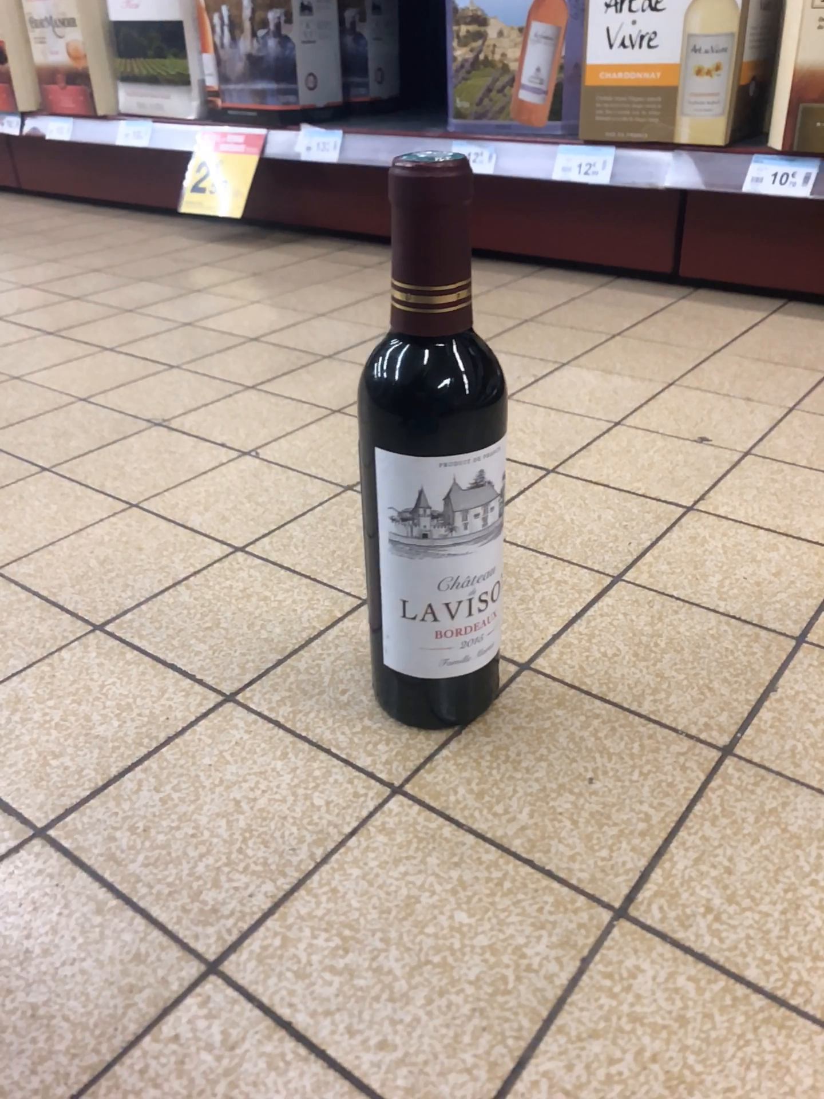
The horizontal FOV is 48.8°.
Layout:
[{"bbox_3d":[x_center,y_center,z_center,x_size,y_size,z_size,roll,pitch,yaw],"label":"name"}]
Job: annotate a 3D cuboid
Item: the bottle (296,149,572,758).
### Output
[{"bbox_3d":[0.010,-0.033,0.356,0.070,0.219,0.060,-21,34,-30],"label":"bottle"}]
